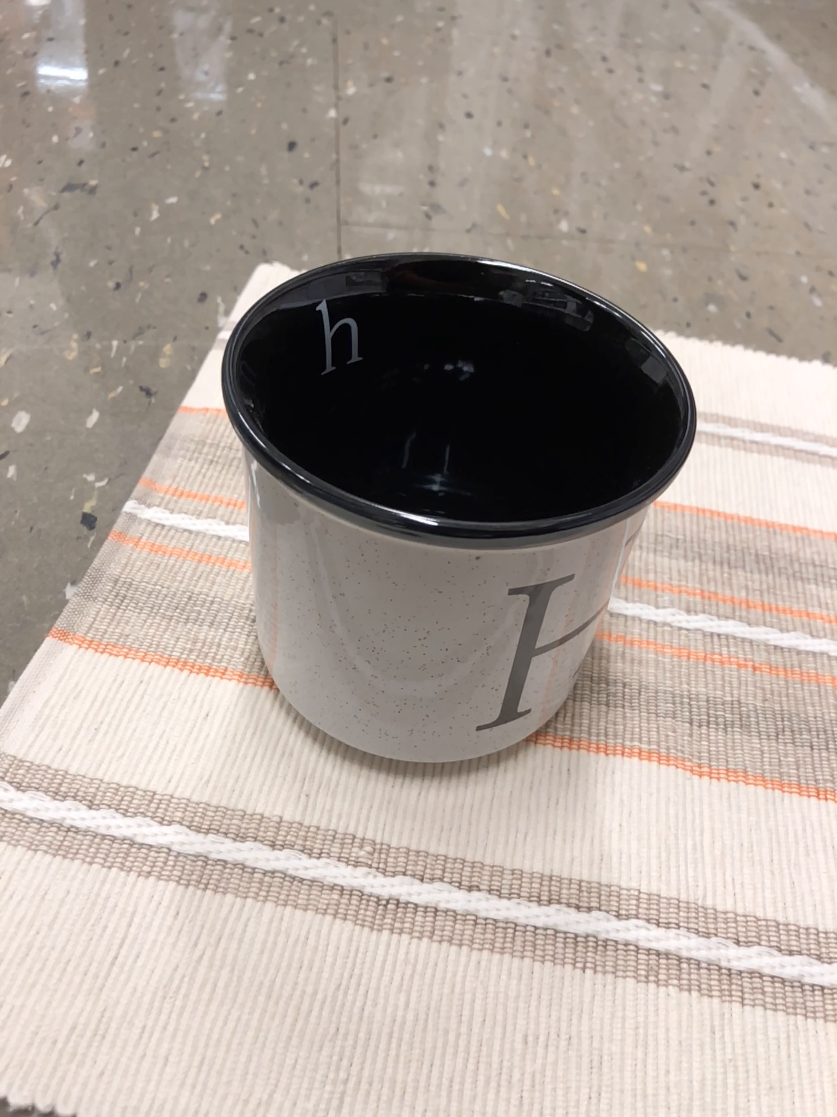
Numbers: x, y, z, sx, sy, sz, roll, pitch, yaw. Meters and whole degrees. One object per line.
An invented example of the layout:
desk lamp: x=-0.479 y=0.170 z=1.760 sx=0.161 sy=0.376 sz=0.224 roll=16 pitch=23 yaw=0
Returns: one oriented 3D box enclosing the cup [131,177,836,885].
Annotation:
cup: x=0.019 y=-0.016 z=0.245 sx=0.140 sy=0.100 sz=0.100 roll=-28 pitch=56 yaw=-30
